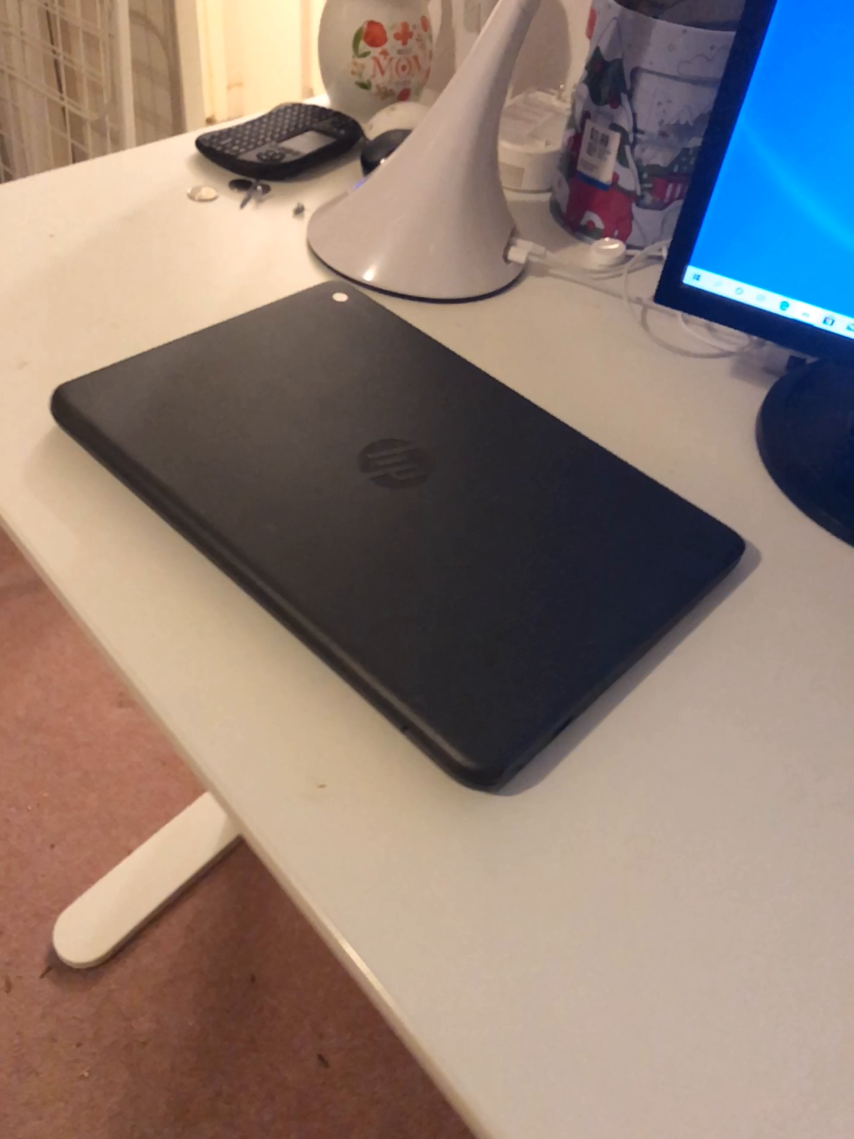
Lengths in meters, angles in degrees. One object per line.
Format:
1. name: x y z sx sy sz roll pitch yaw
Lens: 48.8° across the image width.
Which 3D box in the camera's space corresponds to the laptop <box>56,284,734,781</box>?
1. laptop: -0.021 -0.054 0.519 0.326 0.001 0.209 38 53 25
